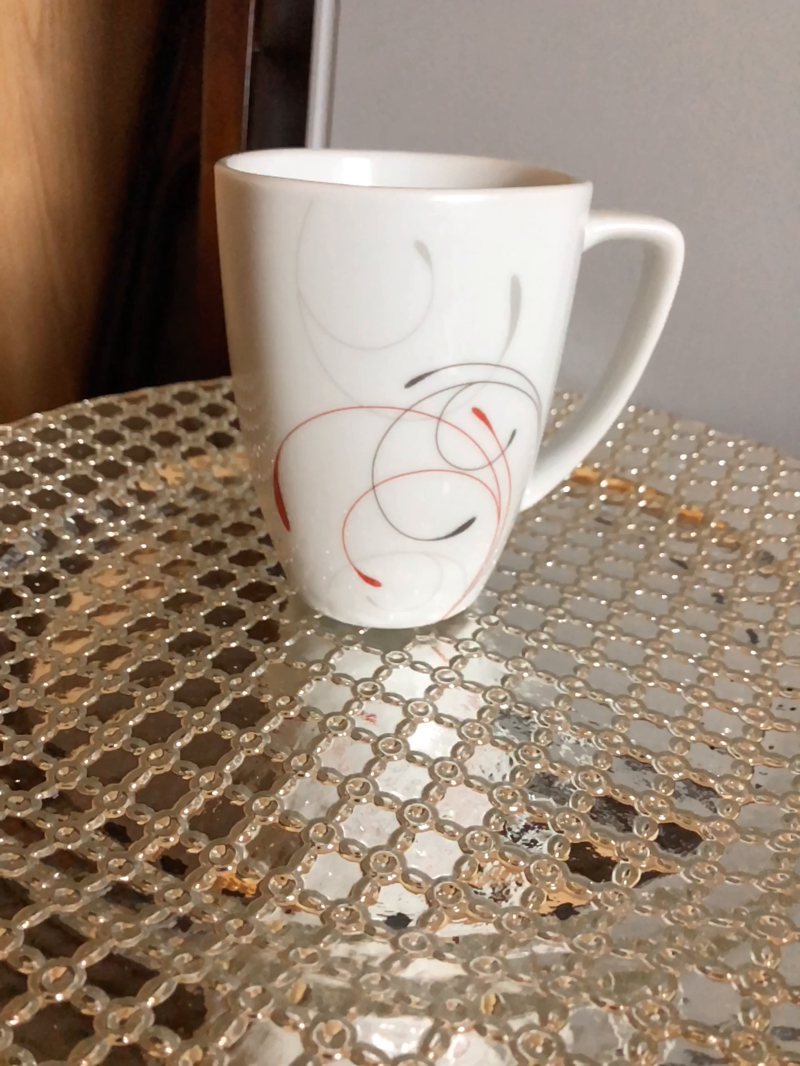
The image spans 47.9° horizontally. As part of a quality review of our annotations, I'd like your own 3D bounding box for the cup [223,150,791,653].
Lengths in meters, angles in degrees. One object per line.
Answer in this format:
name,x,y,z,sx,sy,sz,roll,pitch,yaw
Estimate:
cup,0.018,-0.041,0.235,0.110,0.100,0.080,-7,28,-19
